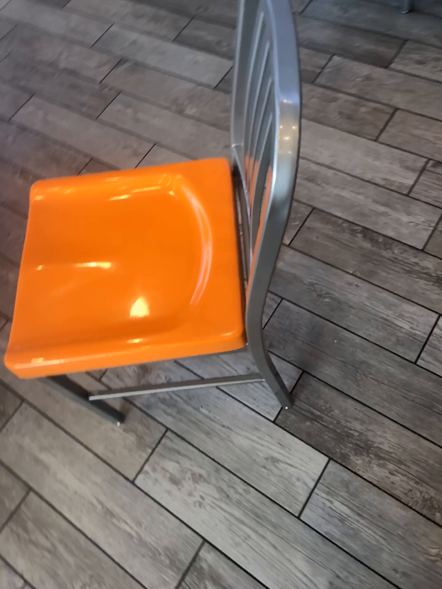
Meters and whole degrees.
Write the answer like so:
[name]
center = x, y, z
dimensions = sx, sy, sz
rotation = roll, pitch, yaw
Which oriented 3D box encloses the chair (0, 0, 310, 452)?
[chair]
center = -0.141, -0.061, 0.833
dimensions = 0.510, 0.819, 0.470
rotation = -8, 62, 7
